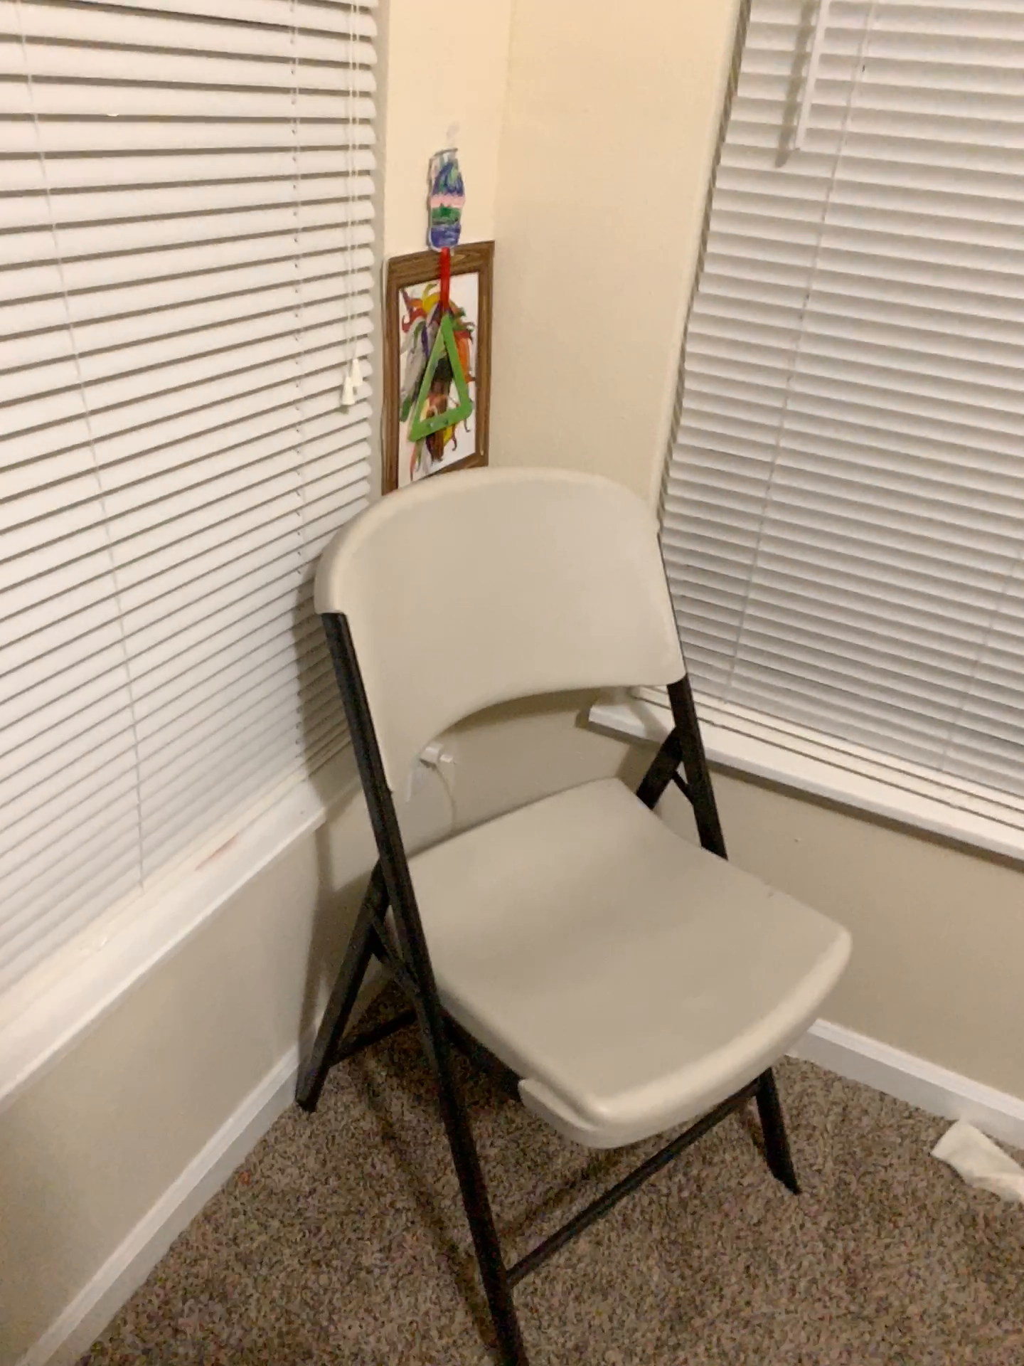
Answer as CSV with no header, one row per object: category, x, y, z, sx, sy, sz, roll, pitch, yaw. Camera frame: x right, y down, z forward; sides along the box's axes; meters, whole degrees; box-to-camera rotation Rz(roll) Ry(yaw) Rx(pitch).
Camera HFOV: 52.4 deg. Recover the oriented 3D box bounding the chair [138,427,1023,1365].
chair,0.036,0.227,1.208,0.611,0.816,0.682,-18,36,-36
